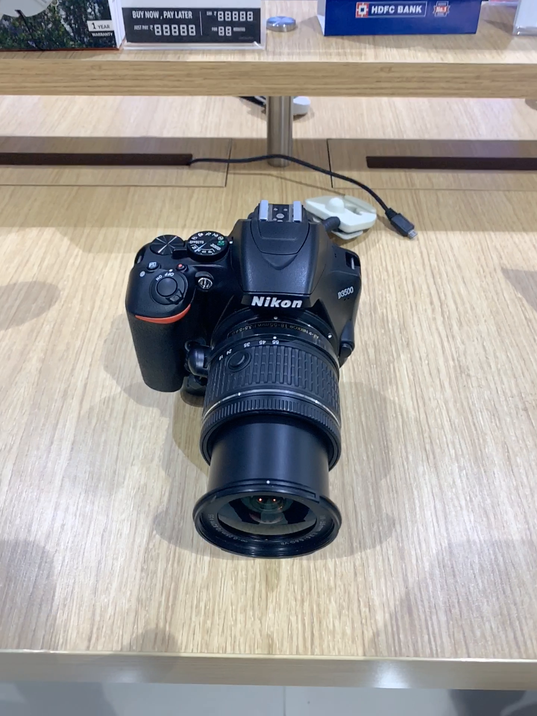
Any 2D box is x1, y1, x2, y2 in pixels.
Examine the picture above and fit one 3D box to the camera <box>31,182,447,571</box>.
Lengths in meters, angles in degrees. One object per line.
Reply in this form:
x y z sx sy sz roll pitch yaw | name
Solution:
-0.007 0.004 0.235 0.117 0.095 0.131 2 48 1 | camera
